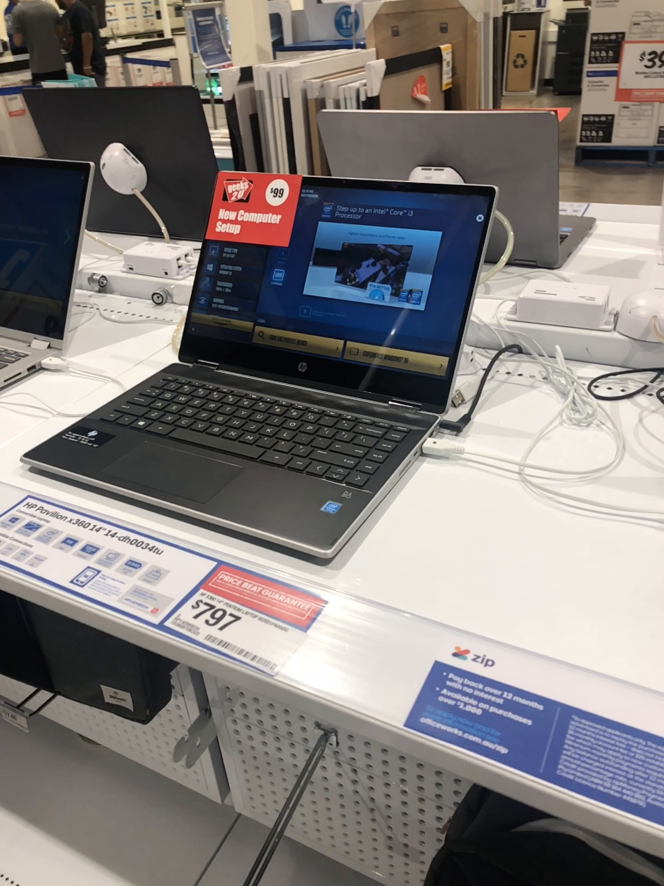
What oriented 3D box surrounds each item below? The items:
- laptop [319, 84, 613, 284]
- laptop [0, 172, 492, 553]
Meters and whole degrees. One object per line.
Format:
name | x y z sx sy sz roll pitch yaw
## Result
laptop | 0.209 -0.404 1.090 0.306 0.199 0.358 13 35 27
laptop | -0.066 -0.112 0.664 0.316 0.169 0.340 13 36 26
